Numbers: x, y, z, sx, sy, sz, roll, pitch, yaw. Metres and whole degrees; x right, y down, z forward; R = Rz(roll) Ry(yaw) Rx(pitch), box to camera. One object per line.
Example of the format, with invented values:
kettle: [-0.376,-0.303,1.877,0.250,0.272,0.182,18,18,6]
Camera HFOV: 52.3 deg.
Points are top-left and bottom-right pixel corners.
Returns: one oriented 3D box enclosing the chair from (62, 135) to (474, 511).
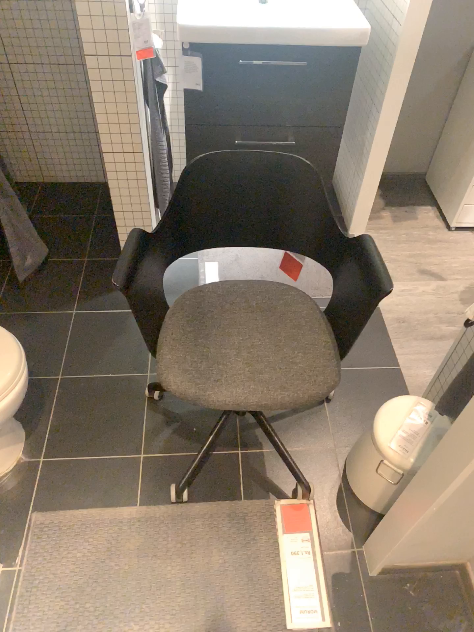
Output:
chair: [0.029,0.042,1.221,0.640,0.738,0.602,-1,48,-3]
